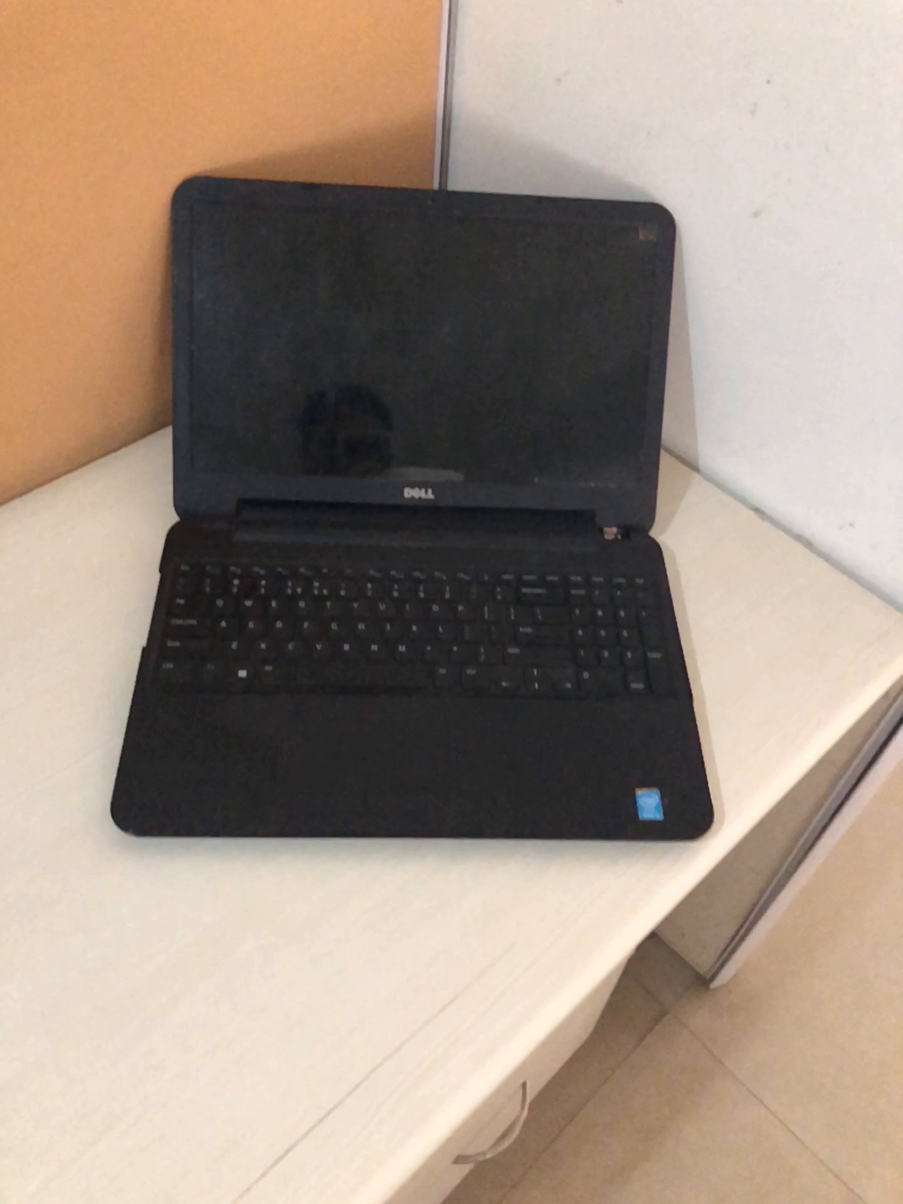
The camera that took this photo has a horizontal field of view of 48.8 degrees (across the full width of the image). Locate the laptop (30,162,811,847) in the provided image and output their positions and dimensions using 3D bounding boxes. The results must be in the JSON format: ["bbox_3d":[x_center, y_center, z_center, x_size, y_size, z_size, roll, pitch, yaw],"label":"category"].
[{"bbox_3d":[-0.020,-0.082,0.643,0.352,0.175,0.415,2,51,-3],"label":"laptop"}]
